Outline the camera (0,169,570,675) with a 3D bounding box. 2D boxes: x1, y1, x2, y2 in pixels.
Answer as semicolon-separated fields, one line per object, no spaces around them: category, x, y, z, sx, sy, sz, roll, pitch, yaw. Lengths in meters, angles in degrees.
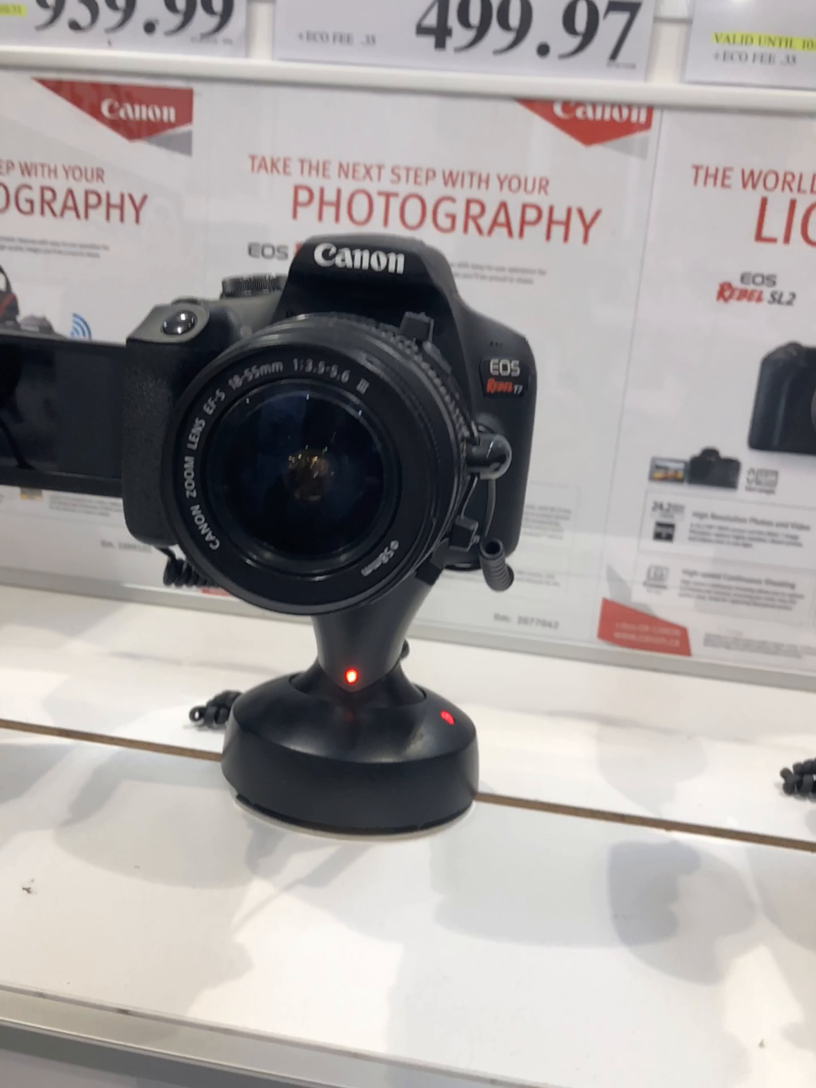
camera;-0.024;-0.043;0.270;0.130;0.100;0.140;7;14;9
